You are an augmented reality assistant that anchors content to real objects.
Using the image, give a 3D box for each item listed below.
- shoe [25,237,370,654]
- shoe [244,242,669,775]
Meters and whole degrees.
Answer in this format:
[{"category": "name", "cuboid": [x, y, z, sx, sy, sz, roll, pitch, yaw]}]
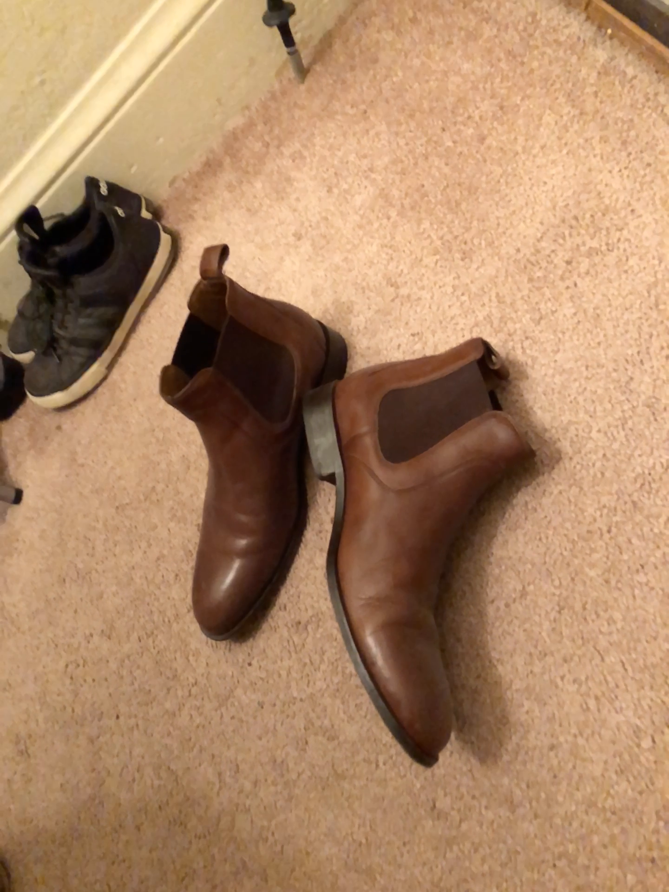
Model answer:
[{"category": "shoe", "cuboid": [-0.103, 0.002, 0.608, 0.109, 0.158, 0.296, 13, 80, 40]}, {"category": "shoe", "cuboid": [0.068, 0.041, 0.504, 0.169, 0.119, 0.297, -31, 57, 22]}]
